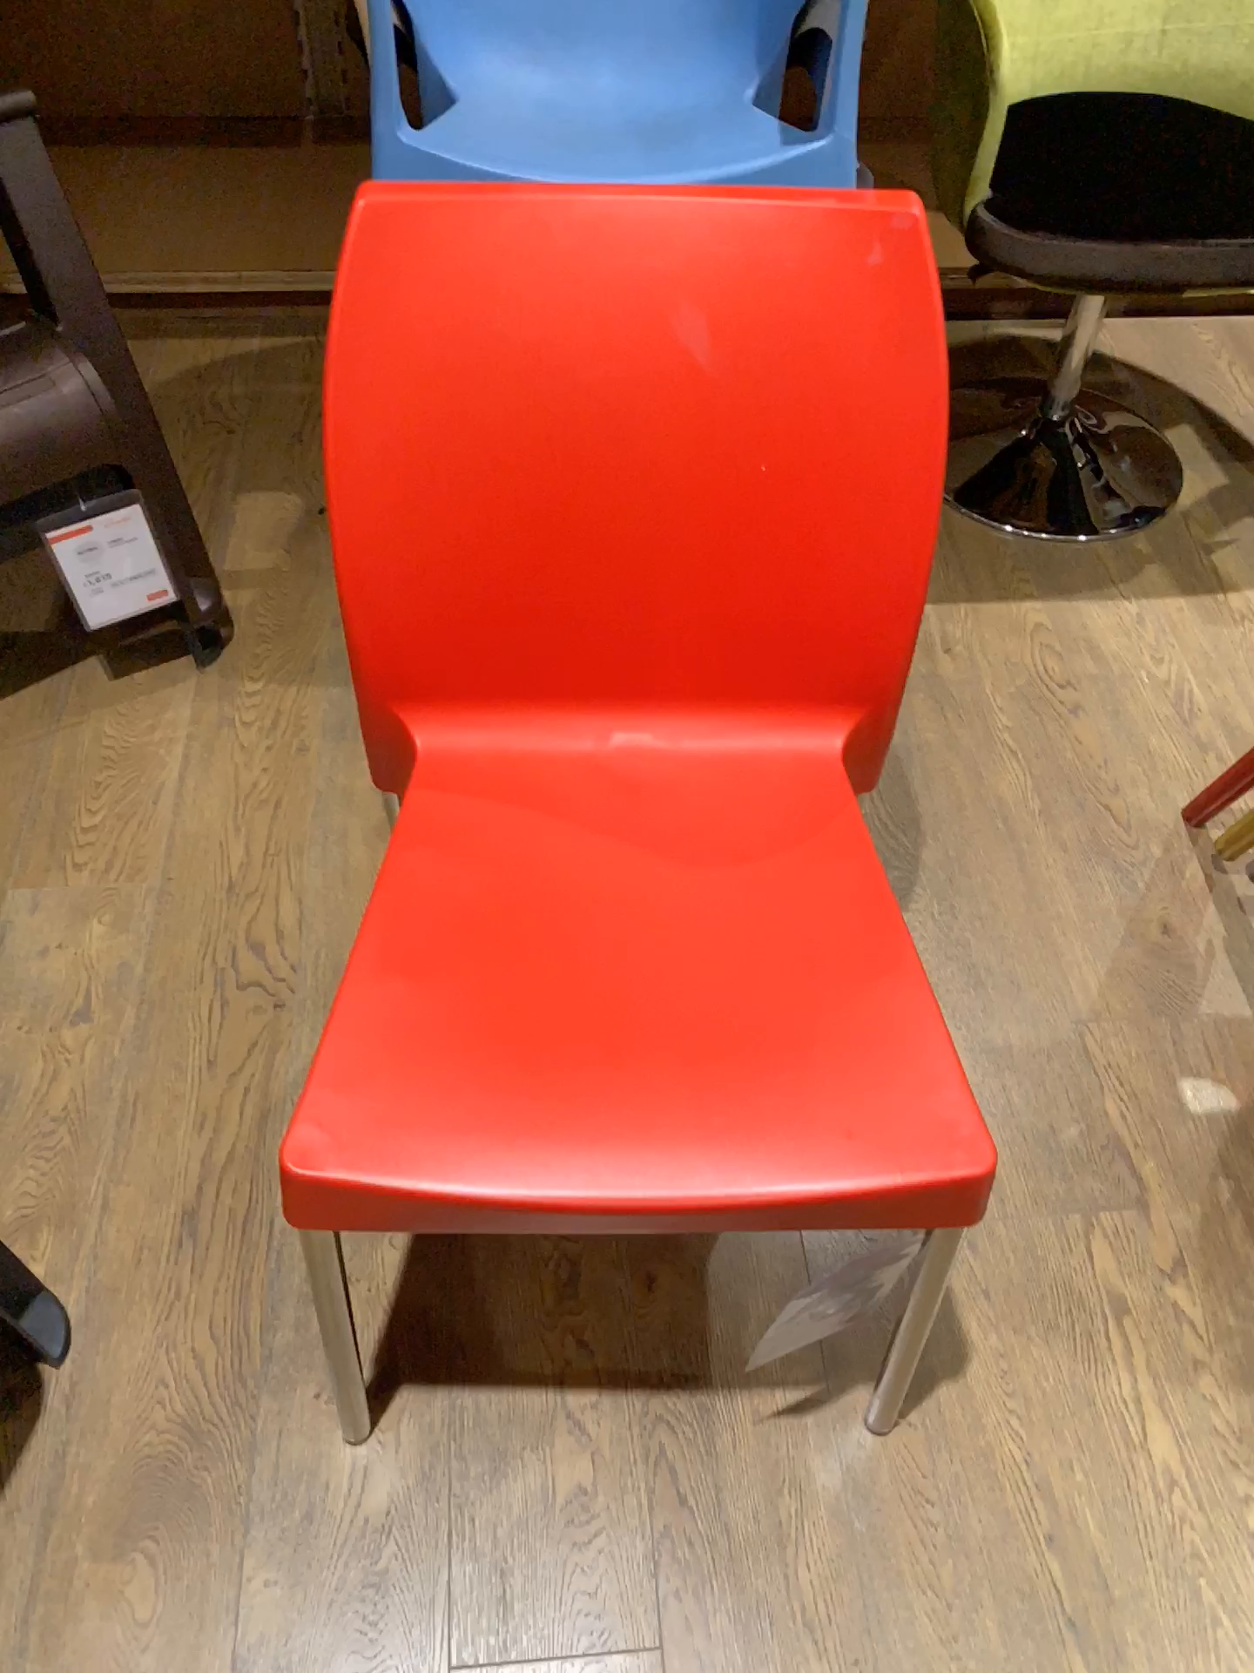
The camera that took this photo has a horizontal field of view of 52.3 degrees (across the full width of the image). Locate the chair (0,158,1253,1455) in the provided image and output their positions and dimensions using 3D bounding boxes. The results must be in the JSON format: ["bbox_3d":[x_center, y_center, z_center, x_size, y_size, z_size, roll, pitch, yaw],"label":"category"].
[{"bbox_3d":[0.020,0.032,0.972,0.530,0.778,0.622,1,51,-1],"label":"chair"}]
